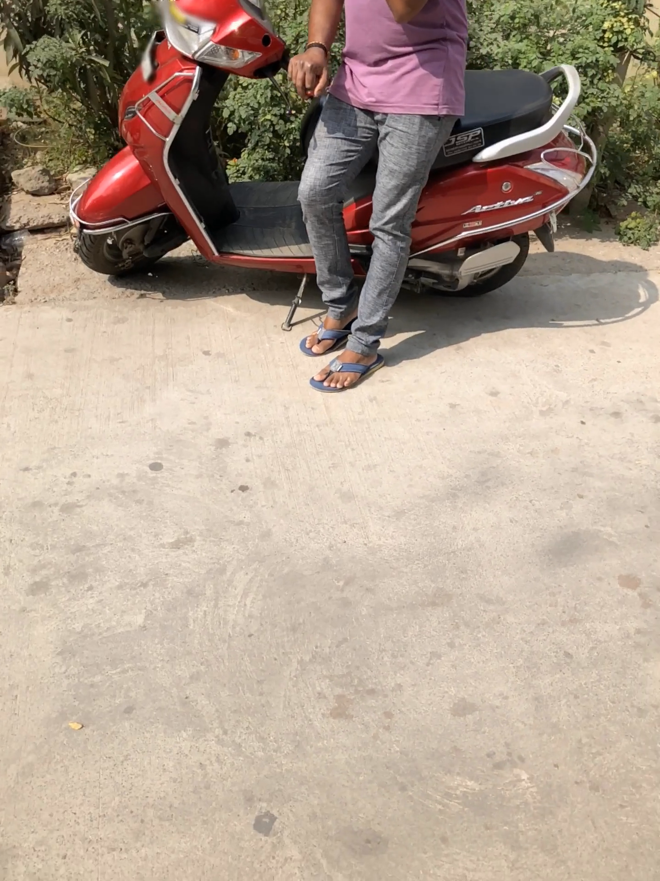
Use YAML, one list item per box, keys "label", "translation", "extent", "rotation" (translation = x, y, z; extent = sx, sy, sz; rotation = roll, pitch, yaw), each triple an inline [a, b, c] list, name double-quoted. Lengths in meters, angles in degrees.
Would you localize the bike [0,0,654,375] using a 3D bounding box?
- label: "bike"
  translation: [-0.074, -0.865, 2.268]
  extent: [1.582, 1.157, 0.626]
  rotation: [0, 39, -1]
